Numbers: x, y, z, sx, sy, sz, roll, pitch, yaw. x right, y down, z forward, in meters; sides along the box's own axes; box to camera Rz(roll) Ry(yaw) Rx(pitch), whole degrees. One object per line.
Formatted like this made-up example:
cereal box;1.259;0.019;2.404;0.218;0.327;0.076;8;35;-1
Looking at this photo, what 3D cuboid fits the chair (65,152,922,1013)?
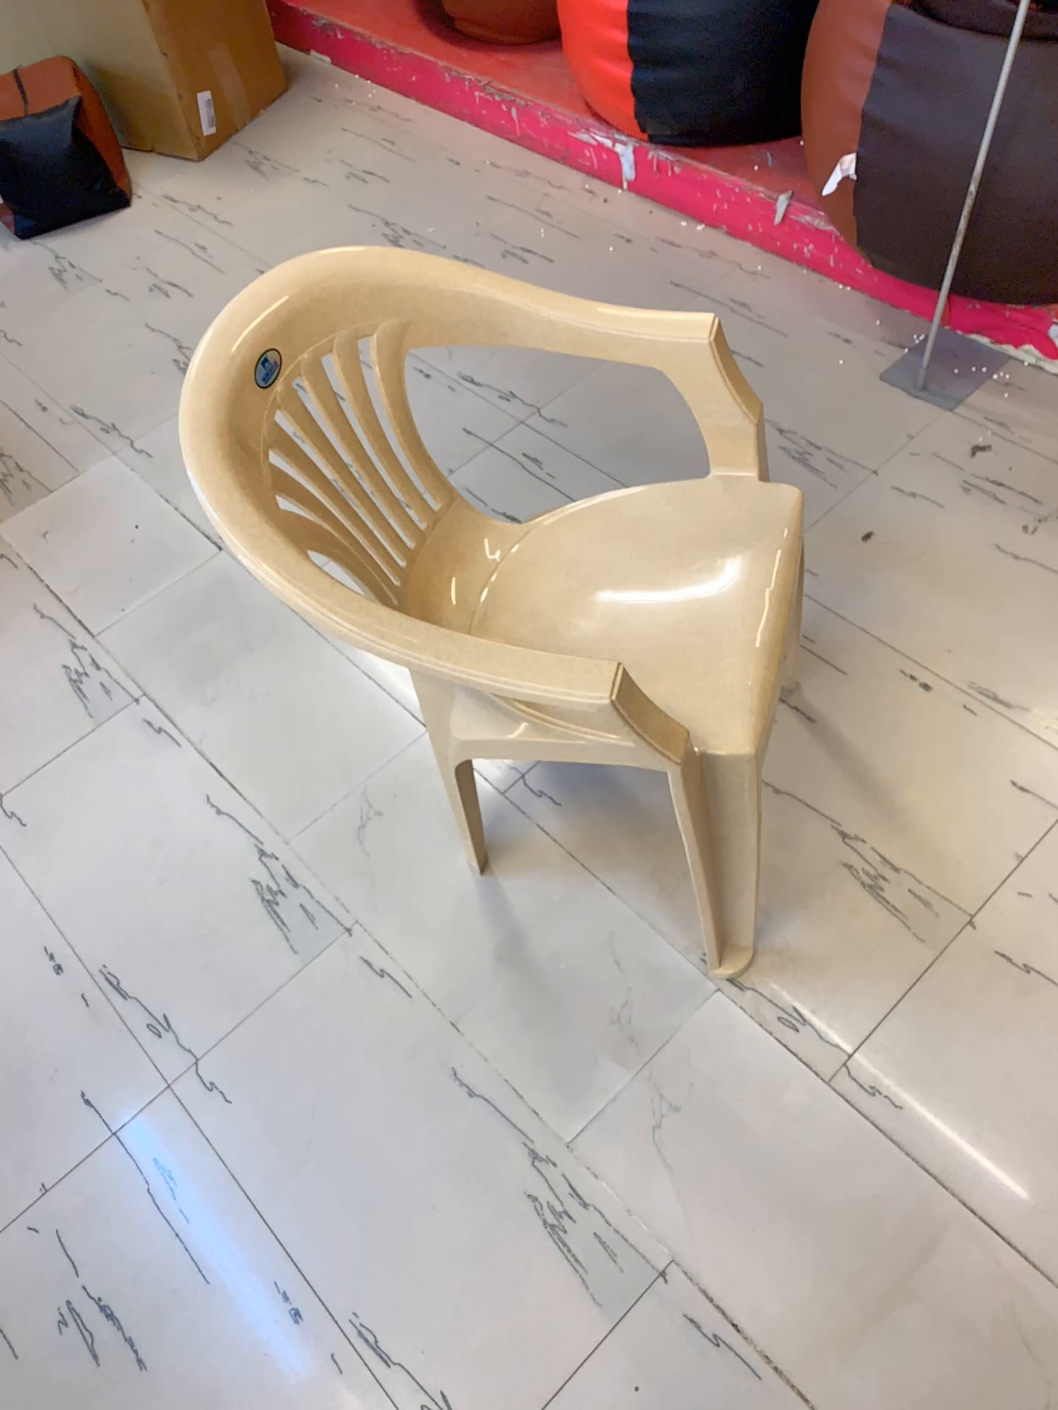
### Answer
chair;0.044;-0.119;1.260;0.631;0.745;0.573;9;56;15
